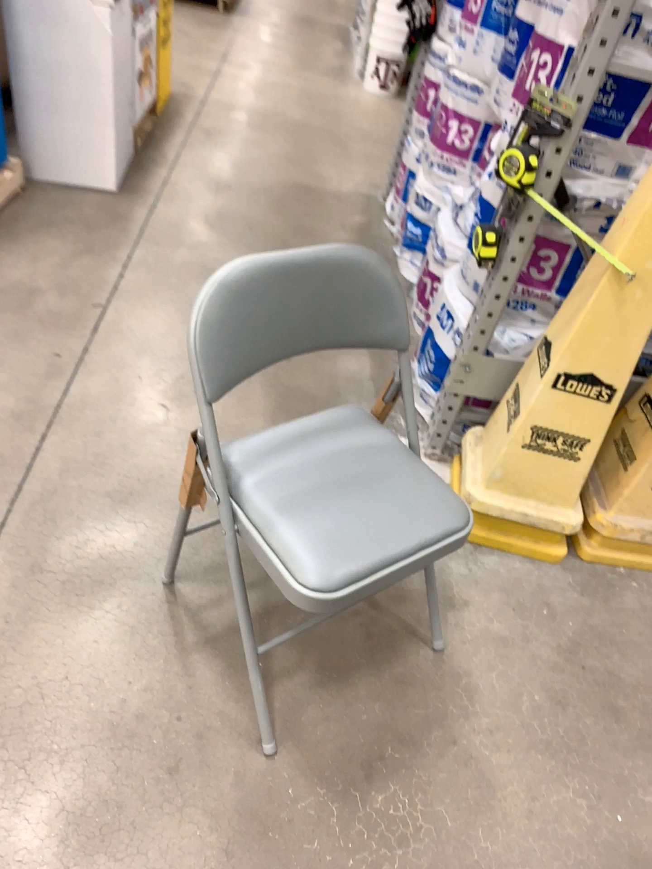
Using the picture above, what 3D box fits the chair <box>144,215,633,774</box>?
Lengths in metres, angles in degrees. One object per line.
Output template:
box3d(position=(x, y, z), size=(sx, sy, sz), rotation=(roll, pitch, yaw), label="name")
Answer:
box3d(position=(0.023, 0.087, 1.151), size=(0.488, 0.708, 0.485), rotation=(-18, 49, -32), label="chair")
